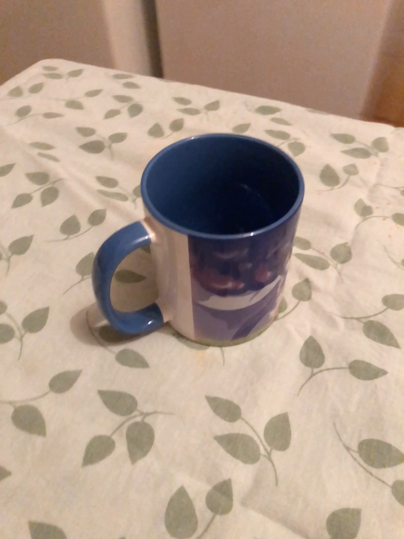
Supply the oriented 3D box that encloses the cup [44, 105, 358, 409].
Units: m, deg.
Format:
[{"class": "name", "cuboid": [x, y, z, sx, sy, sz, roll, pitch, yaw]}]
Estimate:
[{"class": "cup", "cuboid": [-0.002, -0.008, 0.251, 0.120, 0.099, 0.090, -24, 54, -17]}]
